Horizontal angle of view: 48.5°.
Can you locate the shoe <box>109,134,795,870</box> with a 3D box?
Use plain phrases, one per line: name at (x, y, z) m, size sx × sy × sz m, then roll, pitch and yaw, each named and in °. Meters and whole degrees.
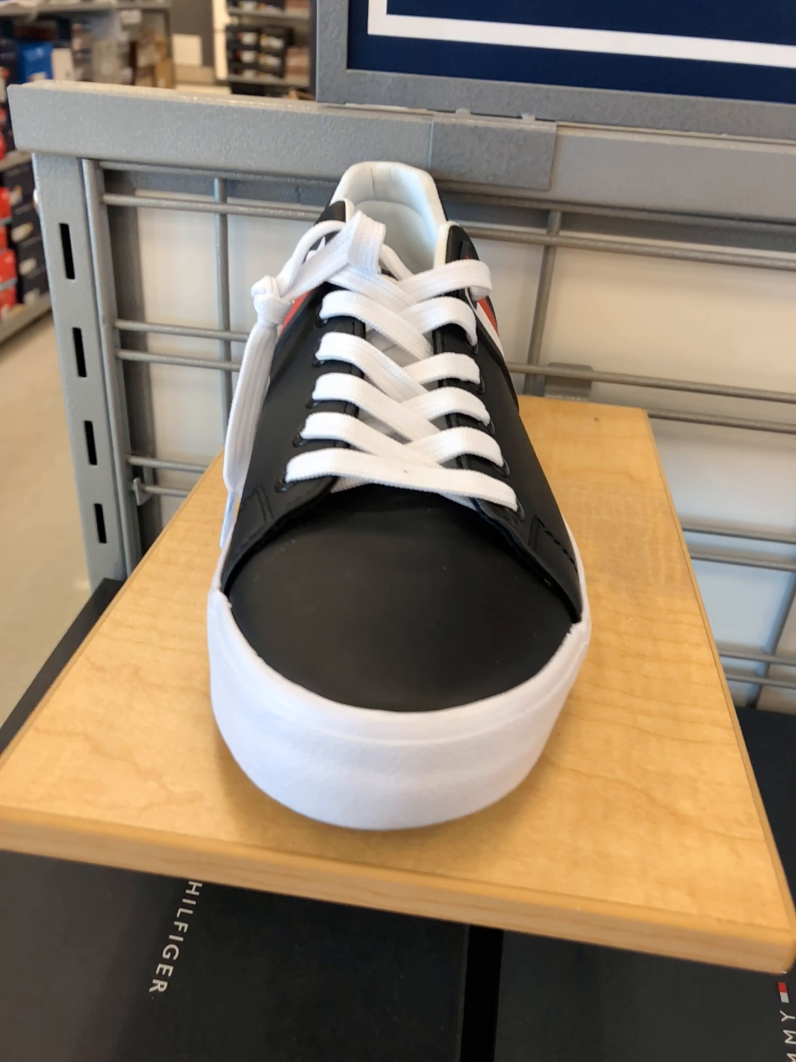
shoe at (0.005, -0.051, 0.273) m, size 0.100 × 0.089 × 0.292 m, roll 4°, pitch 31°, yaw -3°
